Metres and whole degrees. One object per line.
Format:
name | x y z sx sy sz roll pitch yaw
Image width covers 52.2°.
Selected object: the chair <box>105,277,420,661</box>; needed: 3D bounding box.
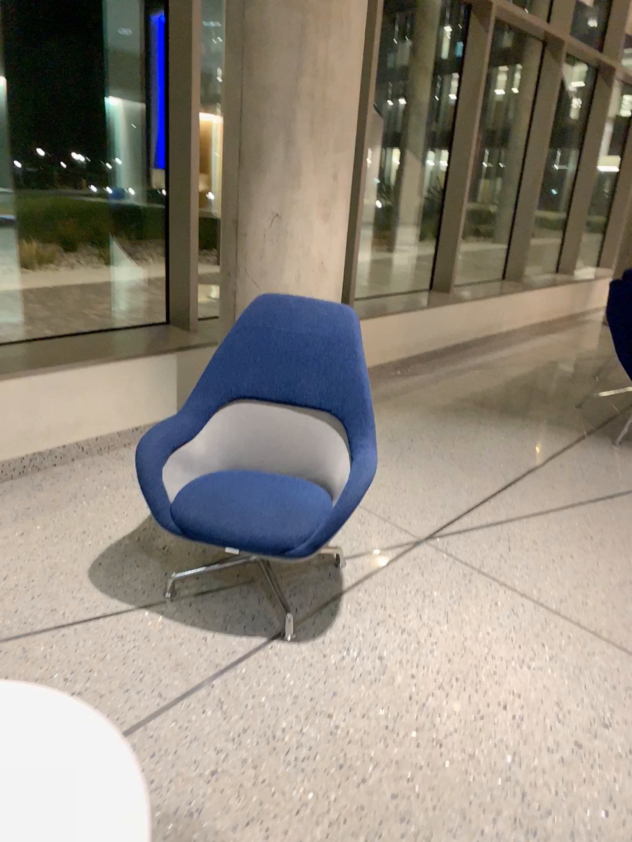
chair | -0.164 0.097 2.194 0.814 0.998 0.635 10 20 14
